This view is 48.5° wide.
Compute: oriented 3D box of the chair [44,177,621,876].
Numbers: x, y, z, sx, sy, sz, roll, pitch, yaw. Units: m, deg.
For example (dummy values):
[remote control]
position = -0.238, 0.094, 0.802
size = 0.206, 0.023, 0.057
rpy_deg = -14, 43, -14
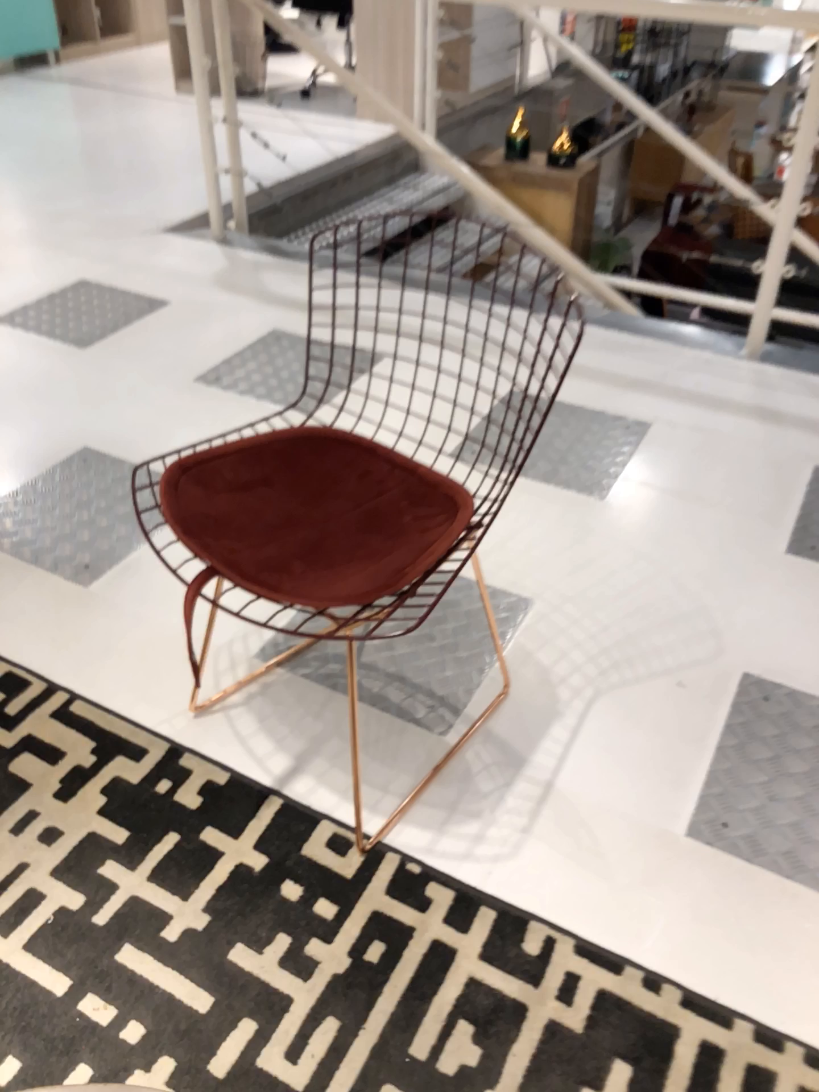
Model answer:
[chair]
position = -0.096, -0.051, 1.355
size = 0.511, 0.765, 0.502
rpy_deg = 30, 45, 33
